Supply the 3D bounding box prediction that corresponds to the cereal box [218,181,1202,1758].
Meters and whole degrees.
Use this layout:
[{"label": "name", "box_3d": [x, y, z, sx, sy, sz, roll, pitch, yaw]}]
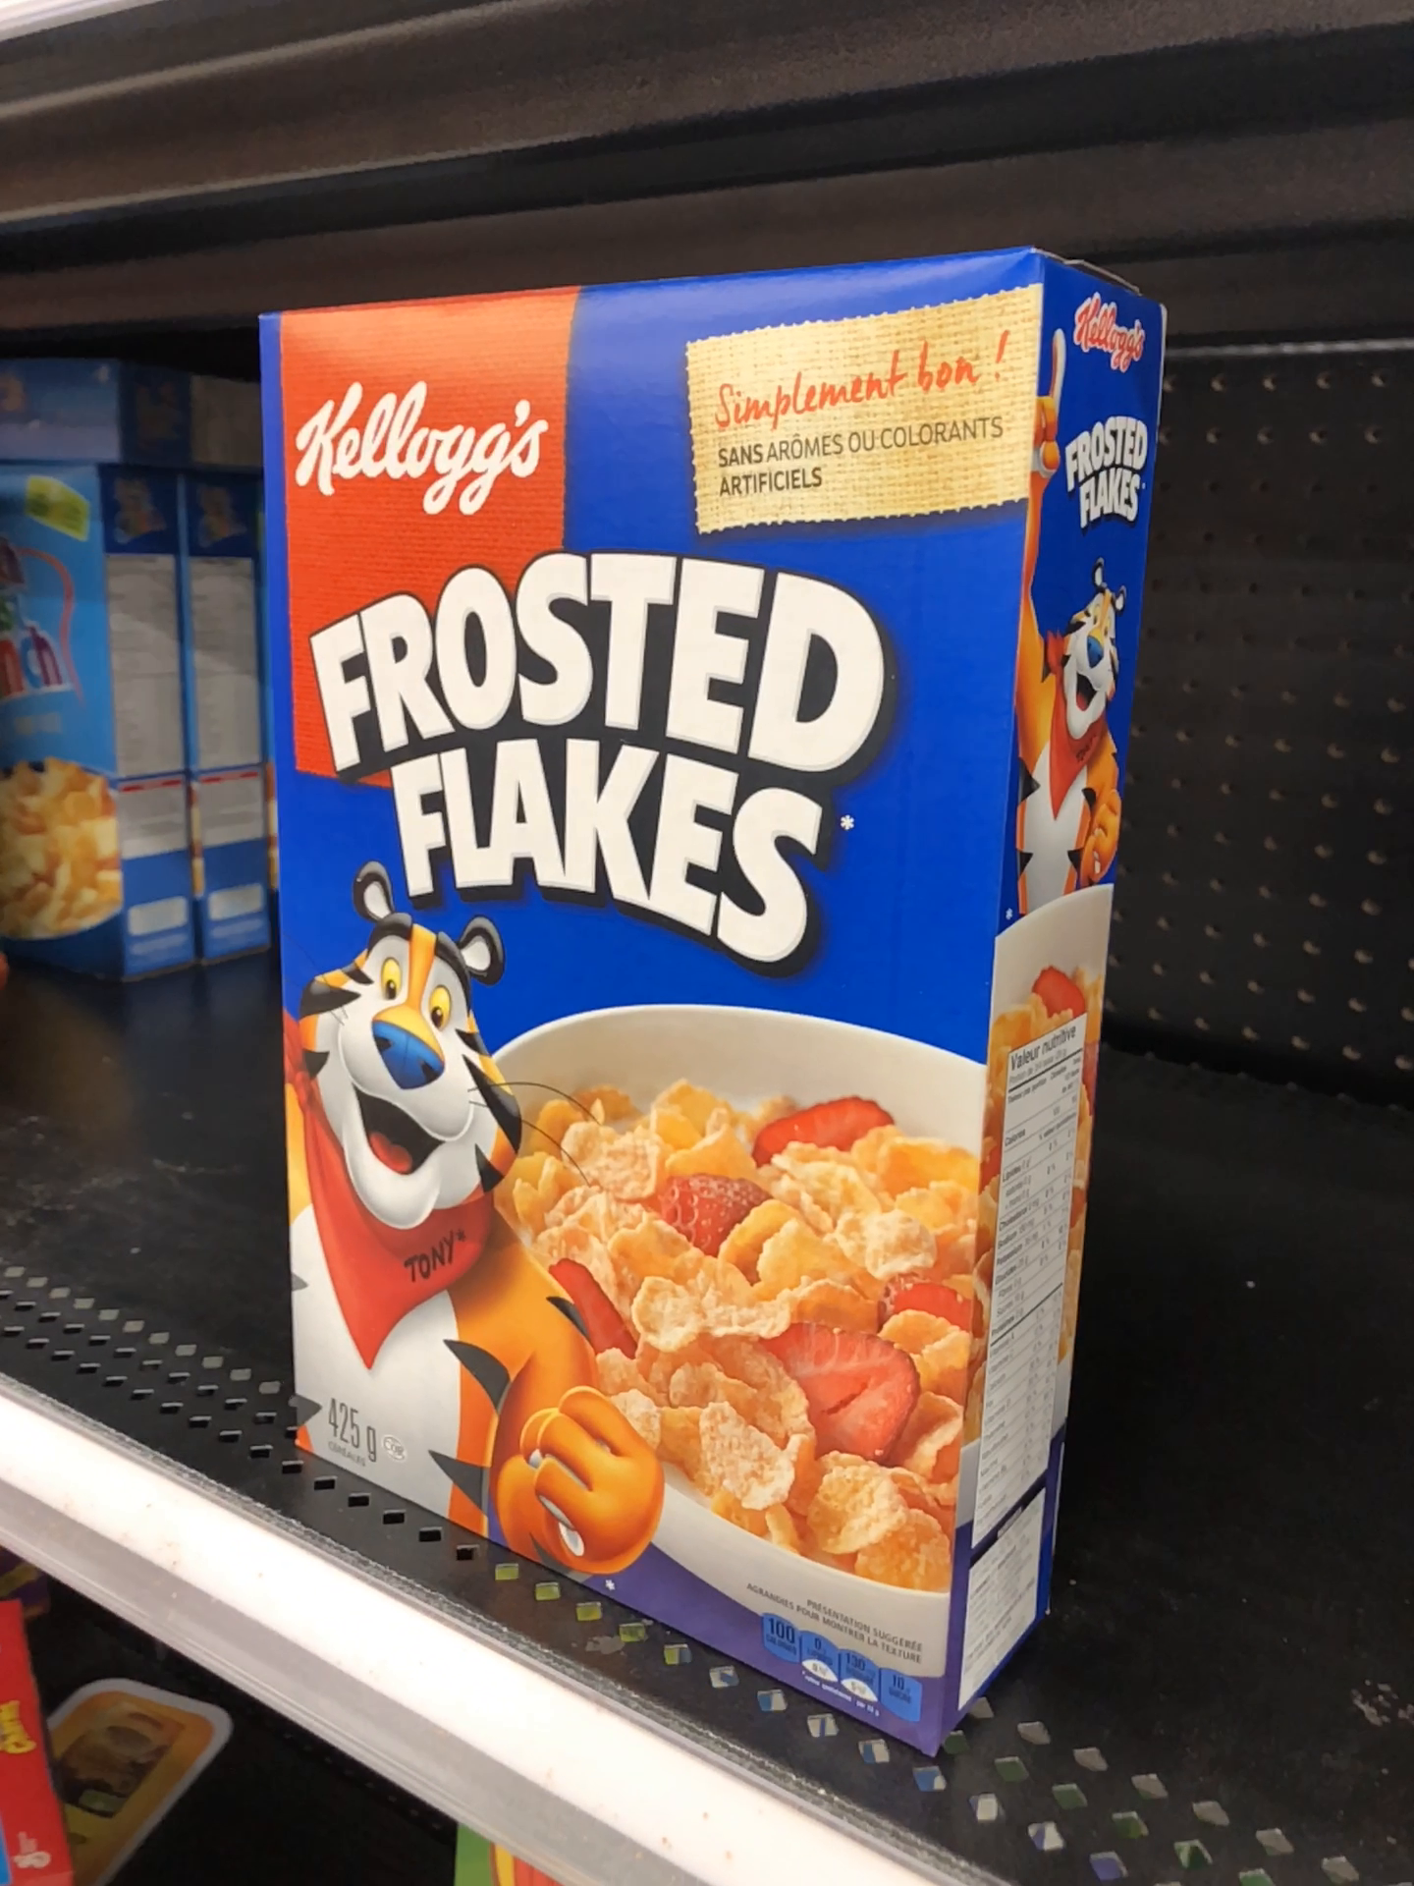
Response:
[{"label": "cereal box", "box_3d": [-0.015, -0.002, 0.361, 0.210, 0.289, 0.060, 11, 15, 33]}]
